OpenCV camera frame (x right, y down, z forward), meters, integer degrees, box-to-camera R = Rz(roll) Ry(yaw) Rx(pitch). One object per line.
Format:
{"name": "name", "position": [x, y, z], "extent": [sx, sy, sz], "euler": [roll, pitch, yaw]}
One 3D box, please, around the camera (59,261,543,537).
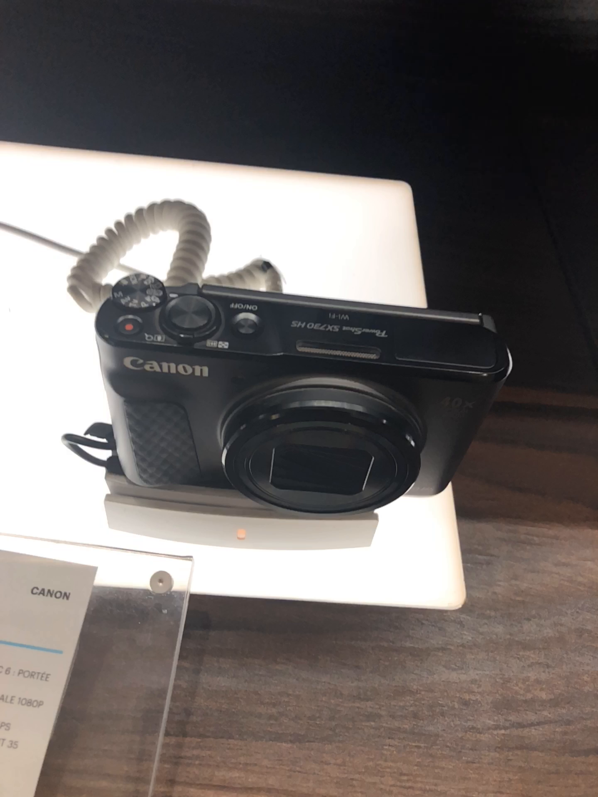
{"name": "camera", "position": [-0.001, 0.004, 0.195], "extent": [0.114, 0.070, 0.035], "euler": [5, 51, -3]}
